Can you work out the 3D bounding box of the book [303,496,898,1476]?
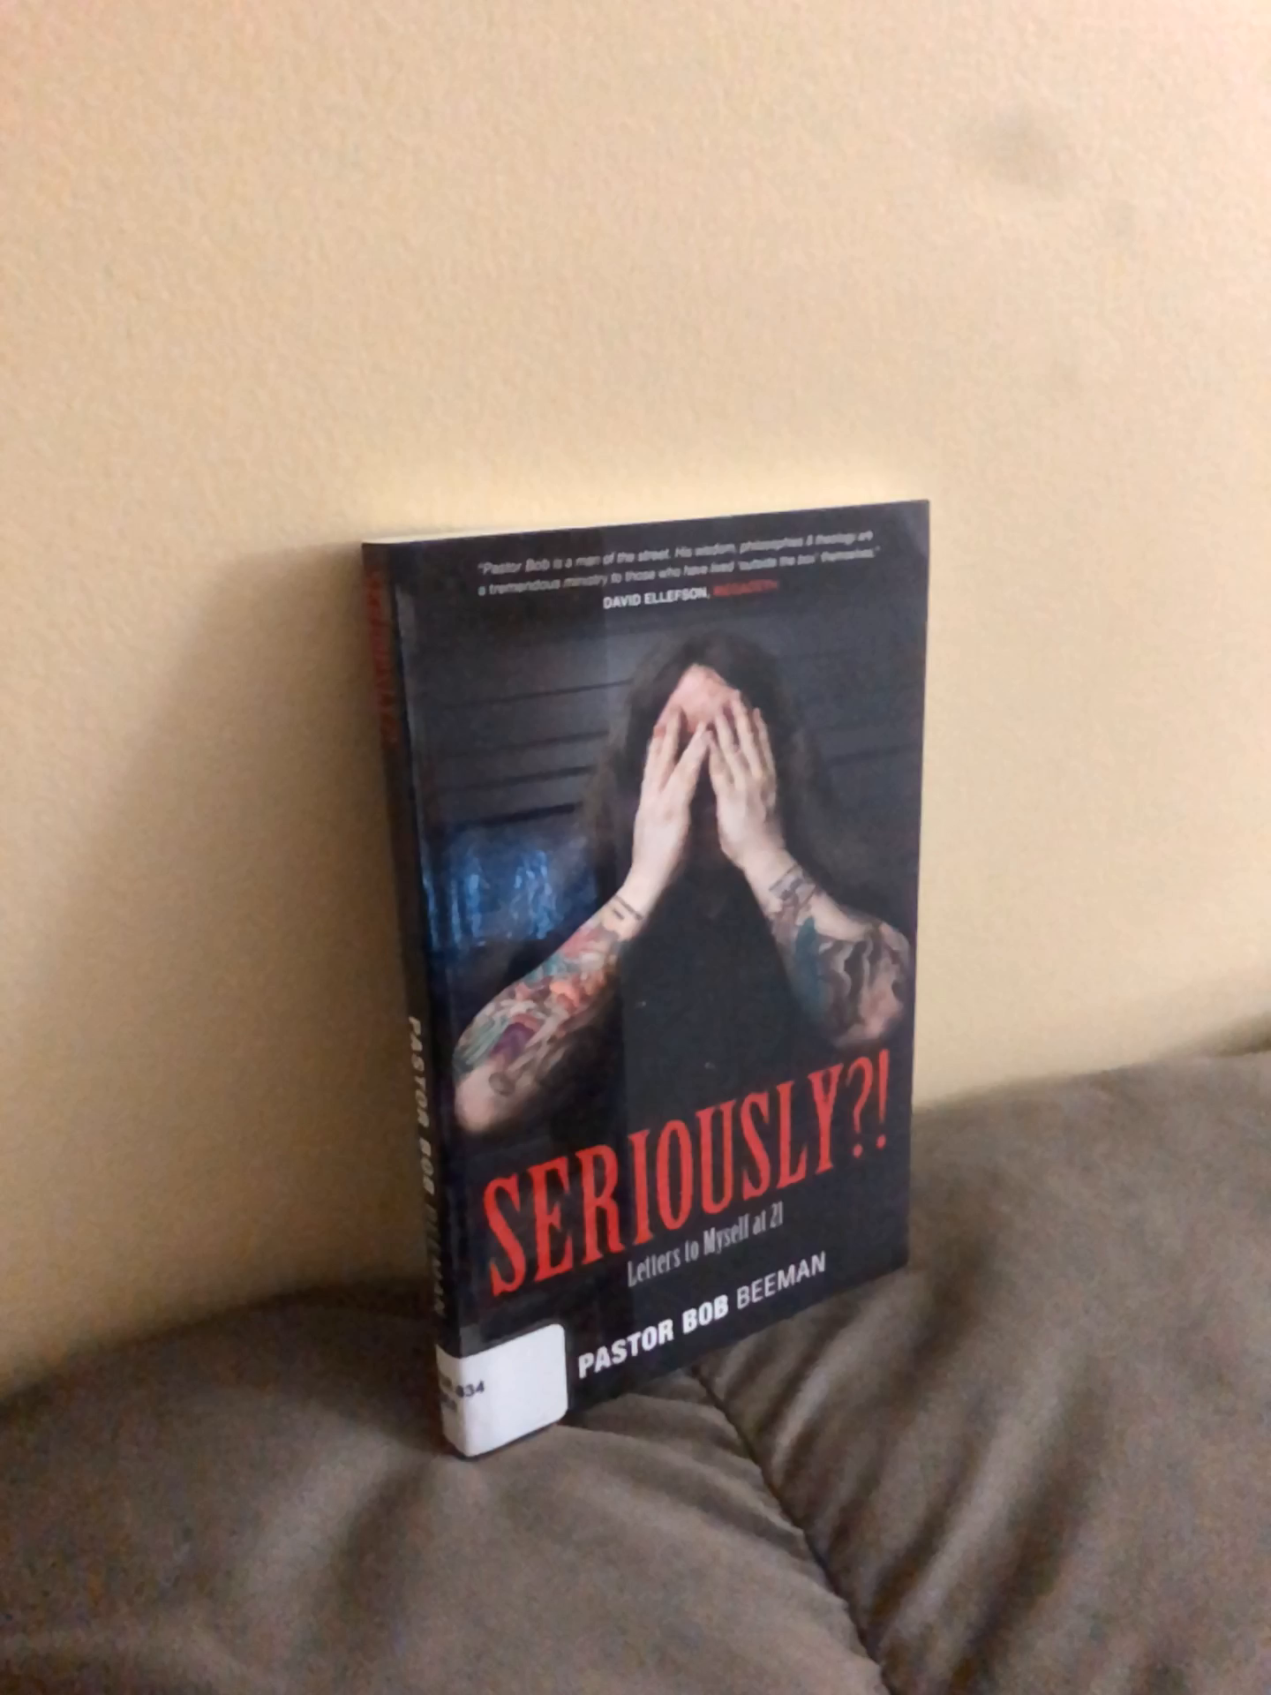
[{"bbox_3d":[0.002,0.027,0.333,0.137,0.205,0.023,-13,19,-31],"label":"book"}]
